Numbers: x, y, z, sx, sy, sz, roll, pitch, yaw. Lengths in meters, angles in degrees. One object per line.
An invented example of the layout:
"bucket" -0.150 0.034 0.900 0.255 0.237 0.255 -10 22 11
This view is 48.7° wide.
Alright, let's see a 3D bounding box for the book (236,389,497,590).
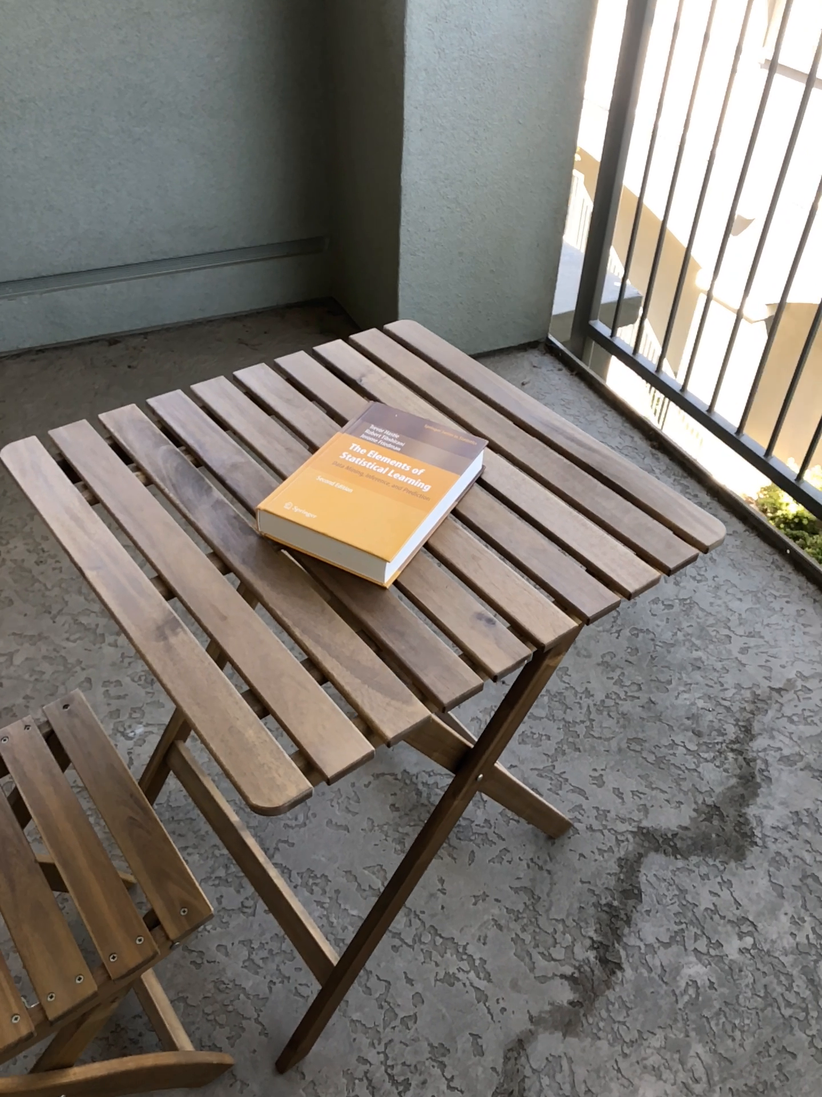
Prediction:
"book" -0.042 -0.077 1.005 0.180 0.040 0.251 22 45 20
